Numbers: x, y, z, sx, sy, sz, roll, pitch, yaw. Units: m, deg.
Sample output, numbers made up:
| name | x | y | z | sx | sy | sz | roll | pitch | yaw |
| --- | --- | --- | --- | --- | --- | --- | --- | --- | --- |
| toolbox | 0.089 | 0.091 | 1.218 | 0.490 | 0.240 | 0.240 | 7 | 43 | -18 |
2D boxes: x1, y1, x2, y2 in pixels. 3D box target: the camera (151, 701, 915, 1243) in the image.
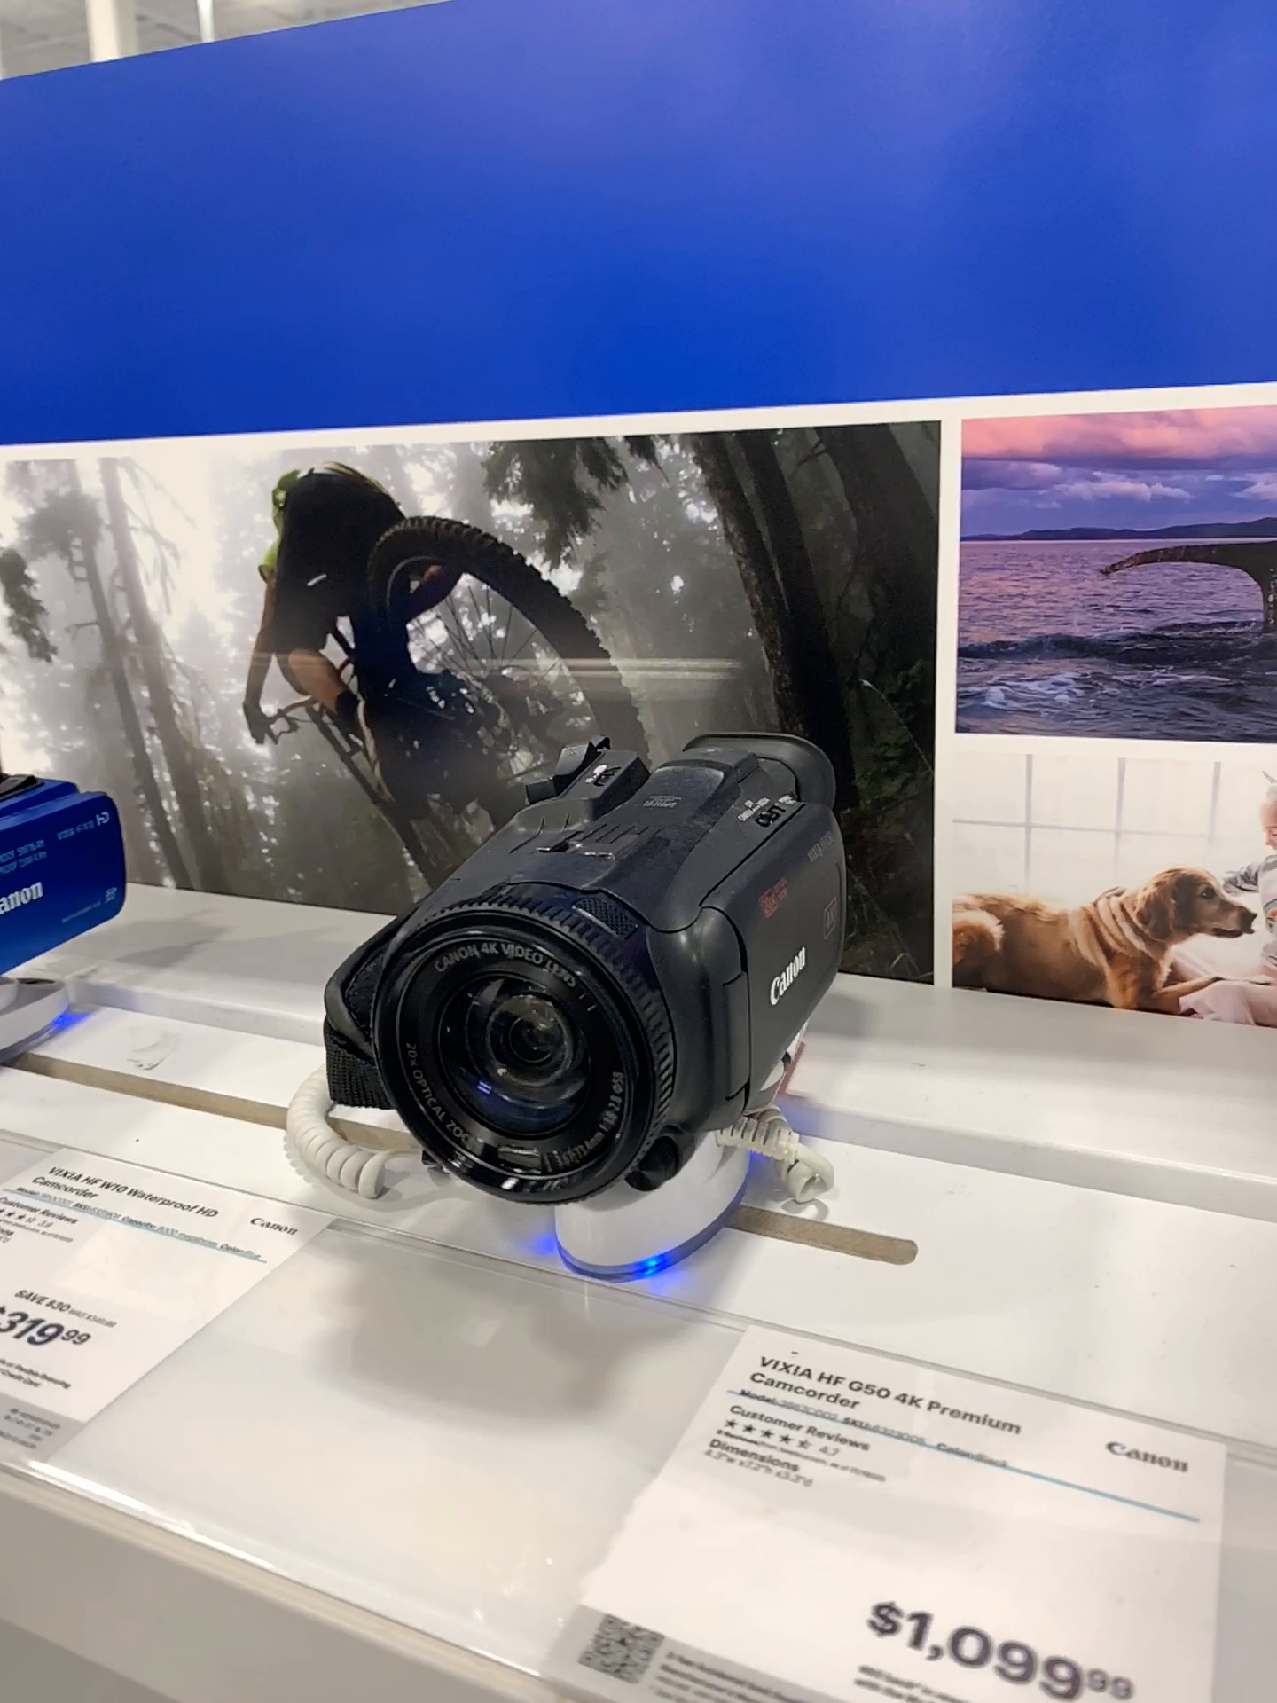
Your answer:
| name | x | y | z | sx | sy | sz | roll | pitch | yaw |
| --- | --- | --- | --- | --- | --- | --- | --- | --- | --- |
| camera | -0.010 | 0.012 | 0.367 | 0.132 | 0.069 | 0.201 | 6 | 17 | 21 |
